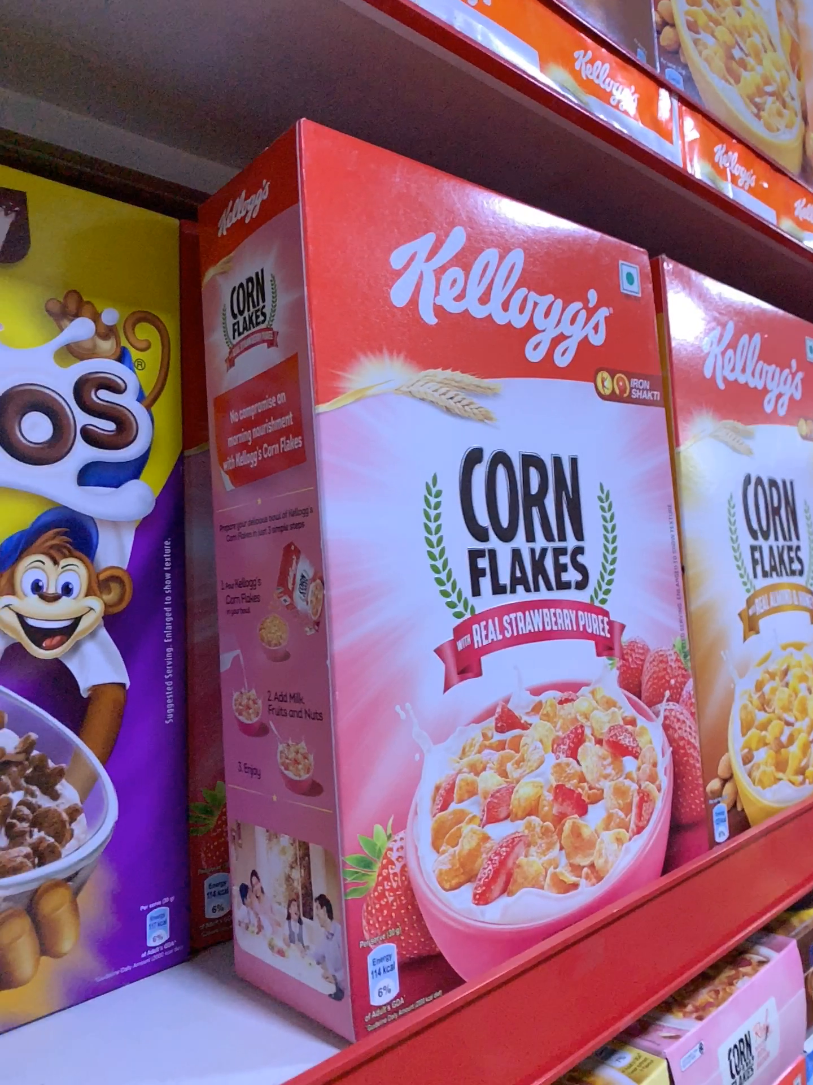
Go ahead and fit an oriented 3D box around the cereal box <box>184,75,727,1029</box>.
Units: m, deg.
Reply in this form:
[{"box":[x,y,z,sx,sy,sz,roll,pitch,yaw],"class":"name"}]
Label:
[{"box":[0.027,-0.001,0.299,0.190,0.240,0.060,1,-7,-43],"class":"cereal box"}]
